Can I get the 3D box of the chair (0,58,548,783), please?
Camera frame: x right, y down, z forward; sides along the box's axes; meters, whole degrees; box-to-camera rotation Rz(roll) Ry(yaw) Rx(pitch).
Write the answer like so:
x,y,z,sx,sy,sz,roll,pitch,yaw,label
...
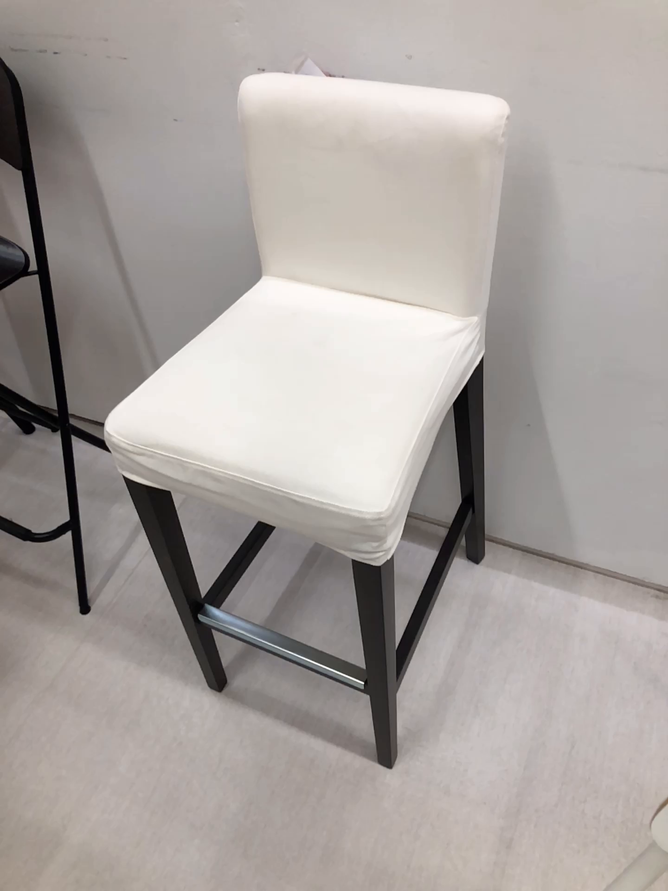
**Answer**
x,y,z,sx,sy,sz,roll,pitch,yaw,label
-0.023,-0.003,1.077,0.441,0.854,0.533,15,50,20,chair
